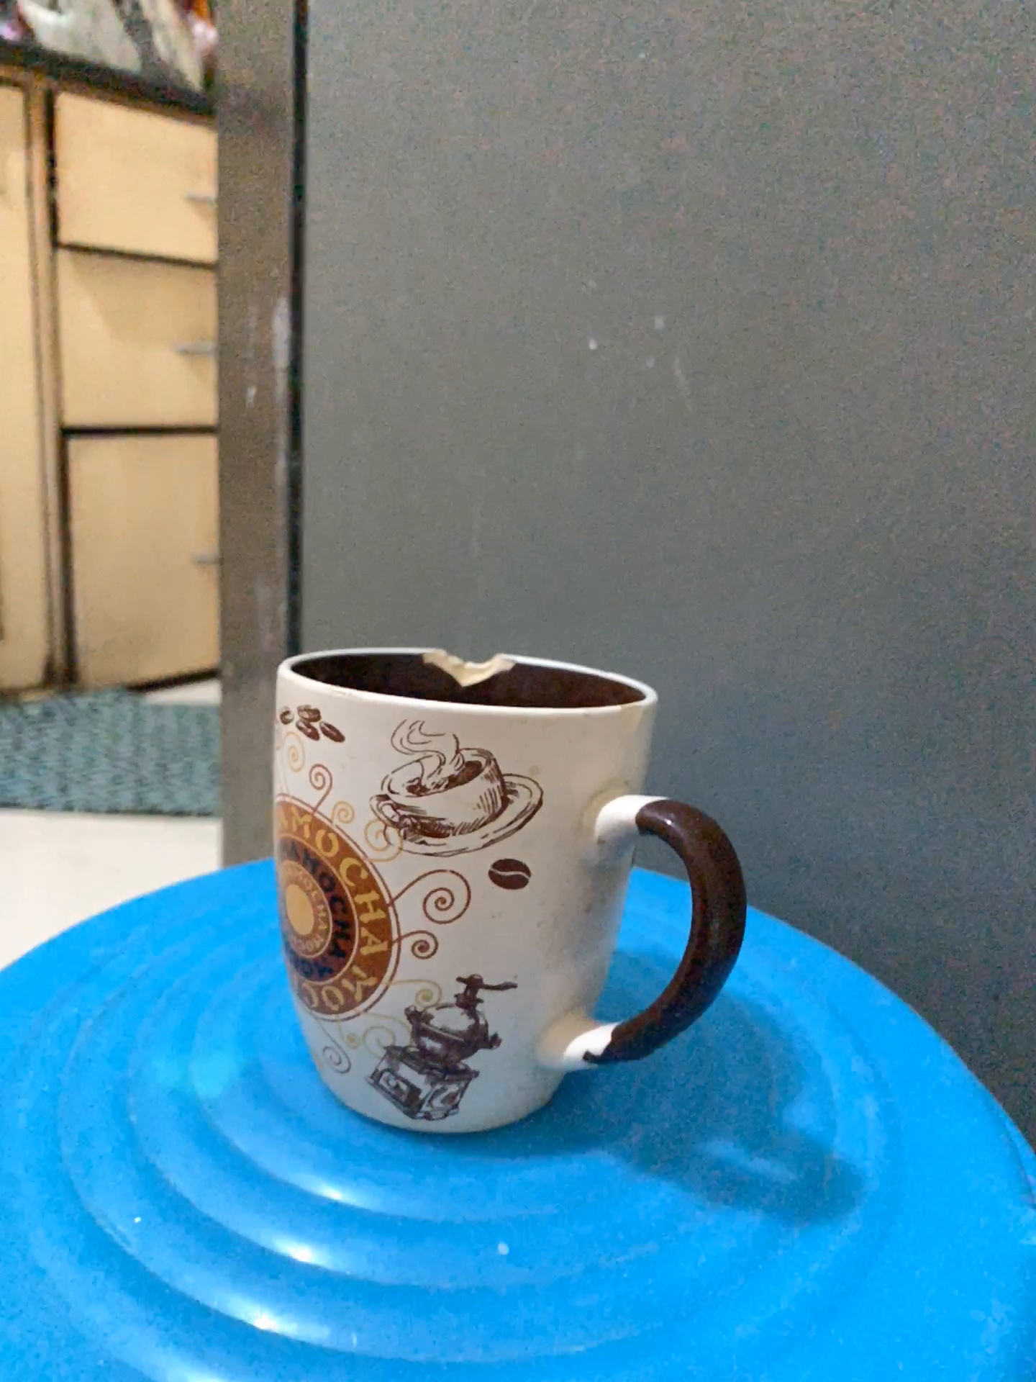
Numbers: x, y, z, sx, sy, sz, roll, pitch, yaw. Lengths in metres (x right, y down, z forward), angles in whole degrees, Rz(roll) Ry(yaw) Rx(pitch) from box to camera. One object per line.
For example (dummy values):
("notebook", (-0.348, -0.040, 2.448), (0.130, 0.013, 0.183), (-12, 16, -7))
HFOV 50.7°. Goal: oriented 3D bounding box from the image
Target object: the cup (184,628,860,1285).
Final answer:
("cup", (-0.002, 0.038, 0.220), (0.109, 0.083, 0.070), (11, 11, 34))
